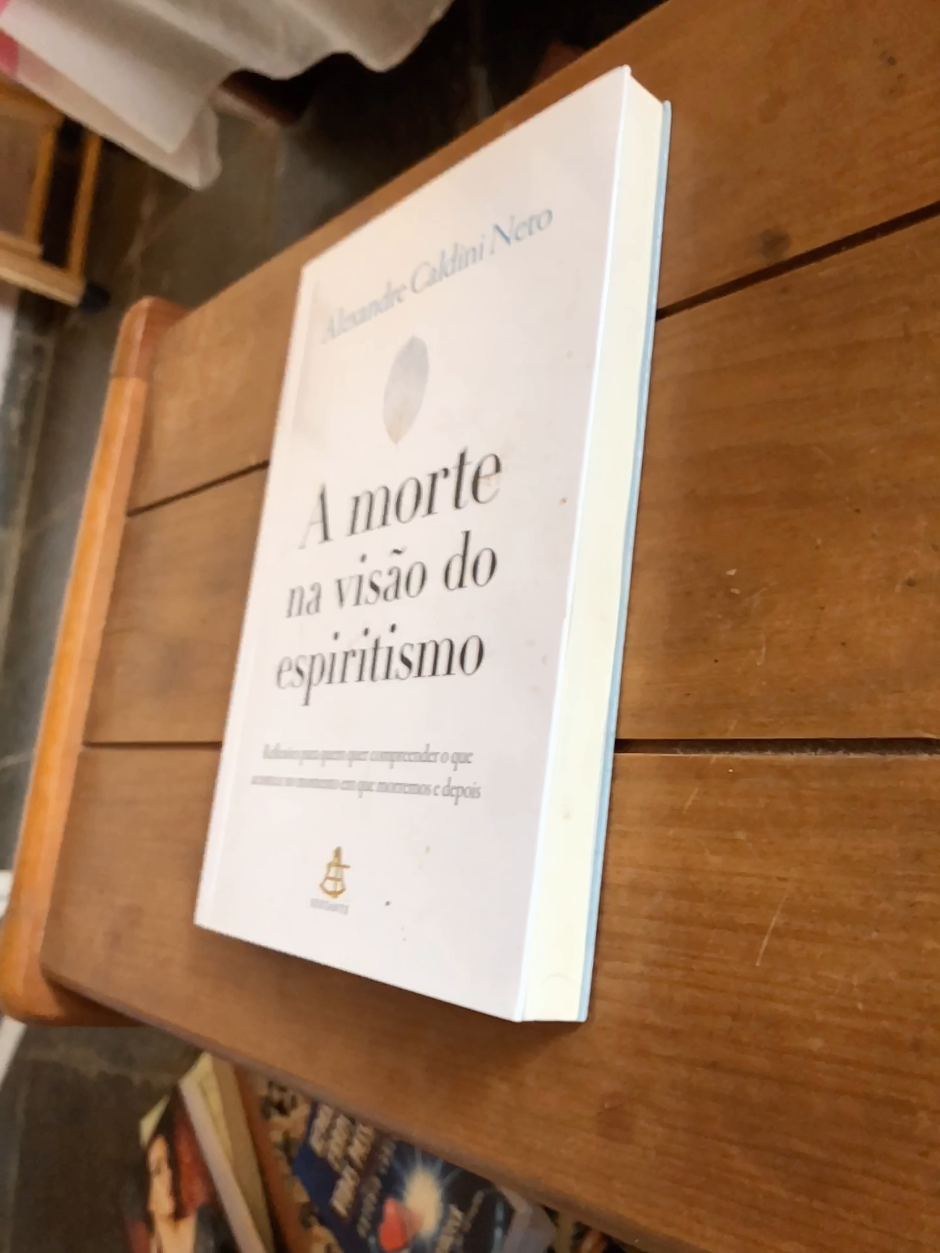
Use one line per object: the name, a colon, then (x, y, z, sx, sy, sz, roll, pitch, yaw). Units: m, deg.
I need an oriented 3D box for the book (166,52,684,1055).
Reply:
book: (-0.017, -0.016, 0.256, 0.136, 0.020, 0.196, -6, 72, 50)
